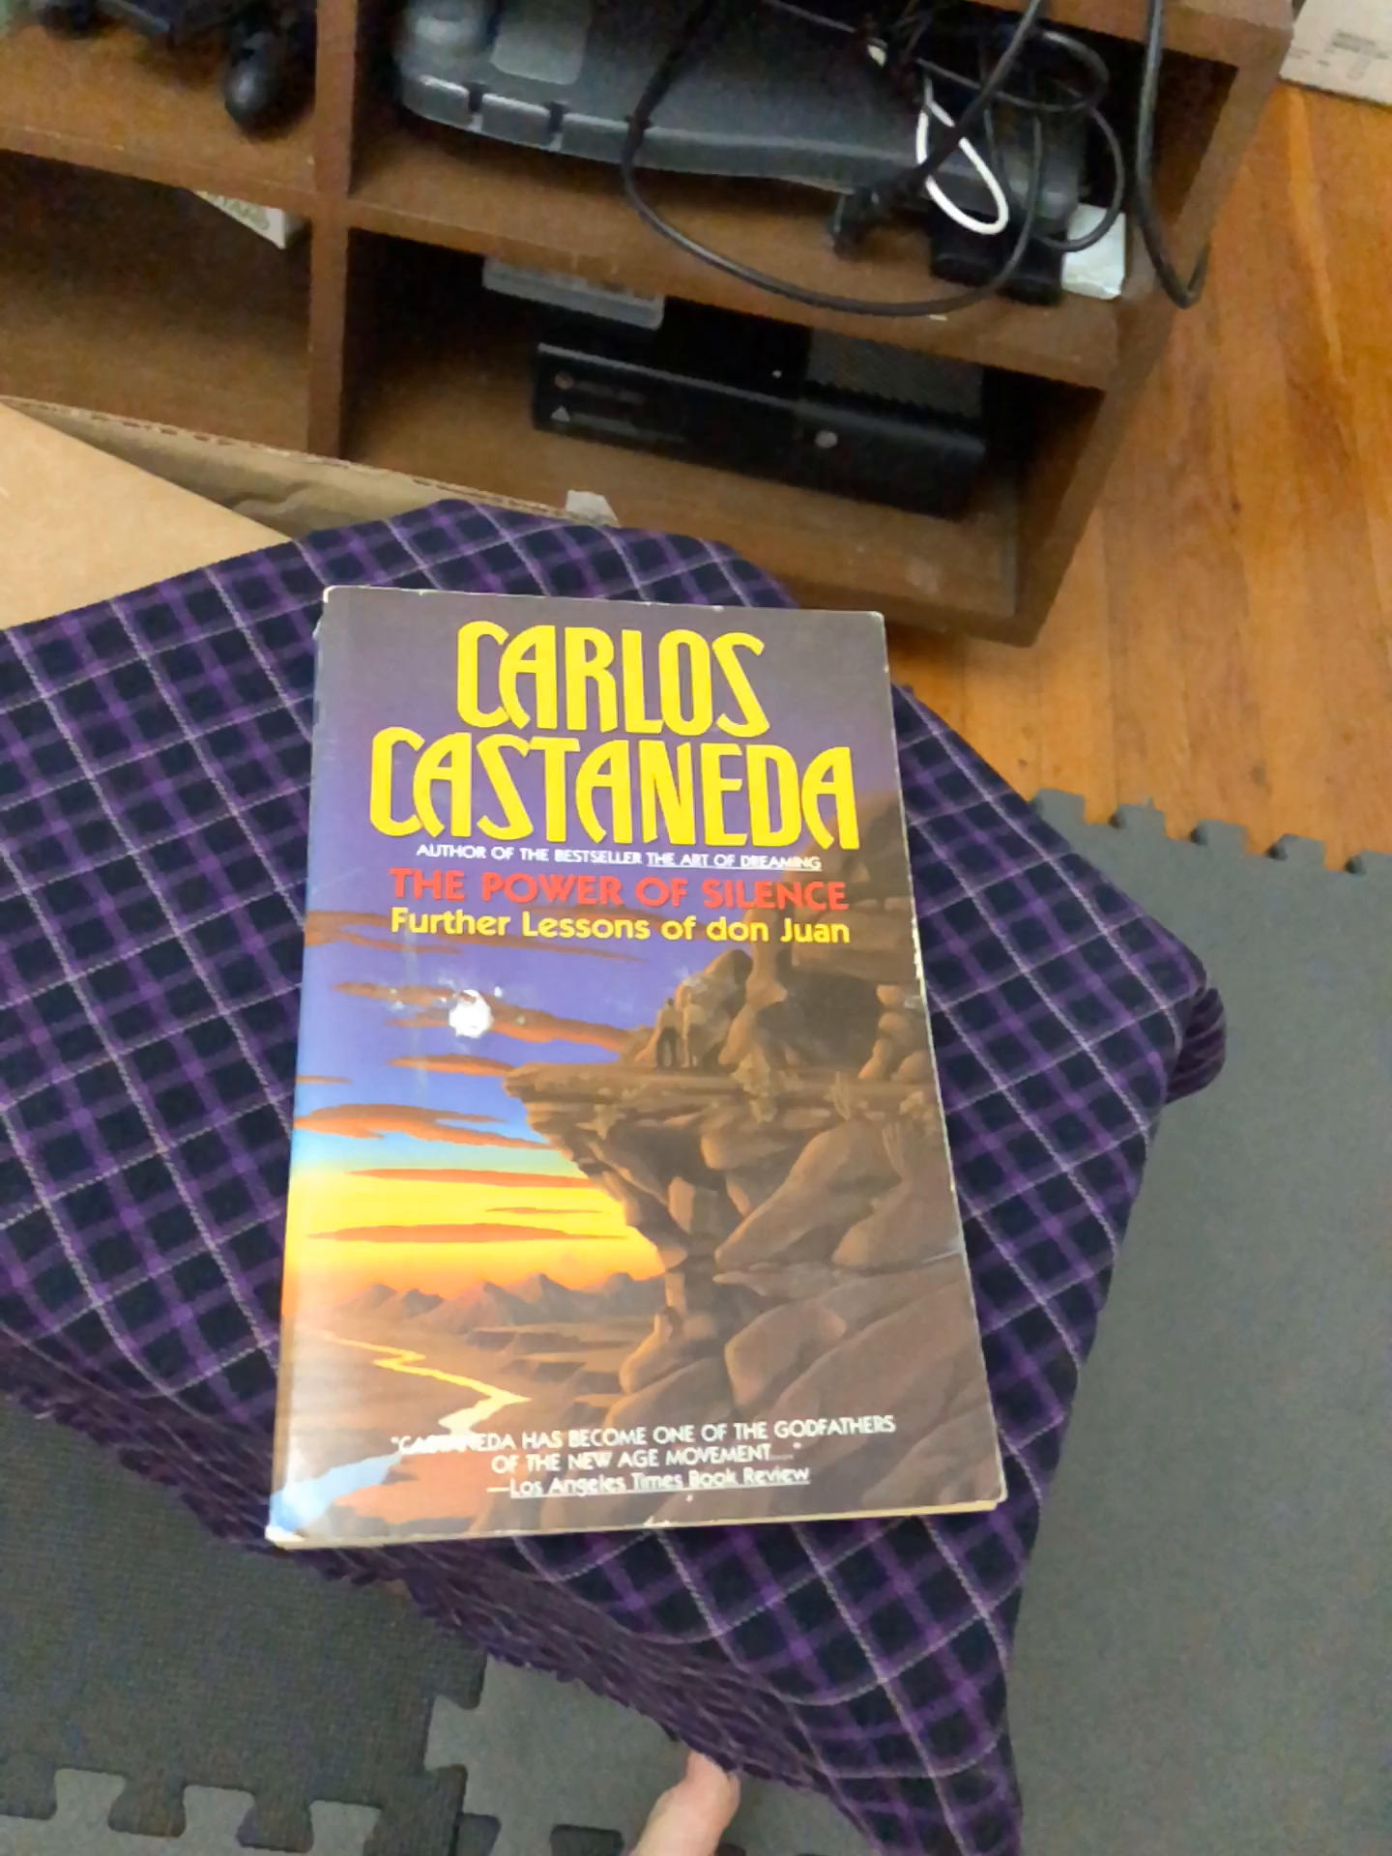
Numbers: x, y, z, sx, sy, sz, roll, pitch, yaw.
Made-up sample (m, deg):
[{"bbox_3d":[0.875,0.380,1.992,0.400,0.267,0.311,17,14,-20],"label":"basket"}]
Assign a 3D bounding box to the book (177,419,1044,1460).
[{"bbox_3d":[-0.017,-0.008,0.320,0.150,0.020,0.221,2,65,-9],"label":"book"}]
